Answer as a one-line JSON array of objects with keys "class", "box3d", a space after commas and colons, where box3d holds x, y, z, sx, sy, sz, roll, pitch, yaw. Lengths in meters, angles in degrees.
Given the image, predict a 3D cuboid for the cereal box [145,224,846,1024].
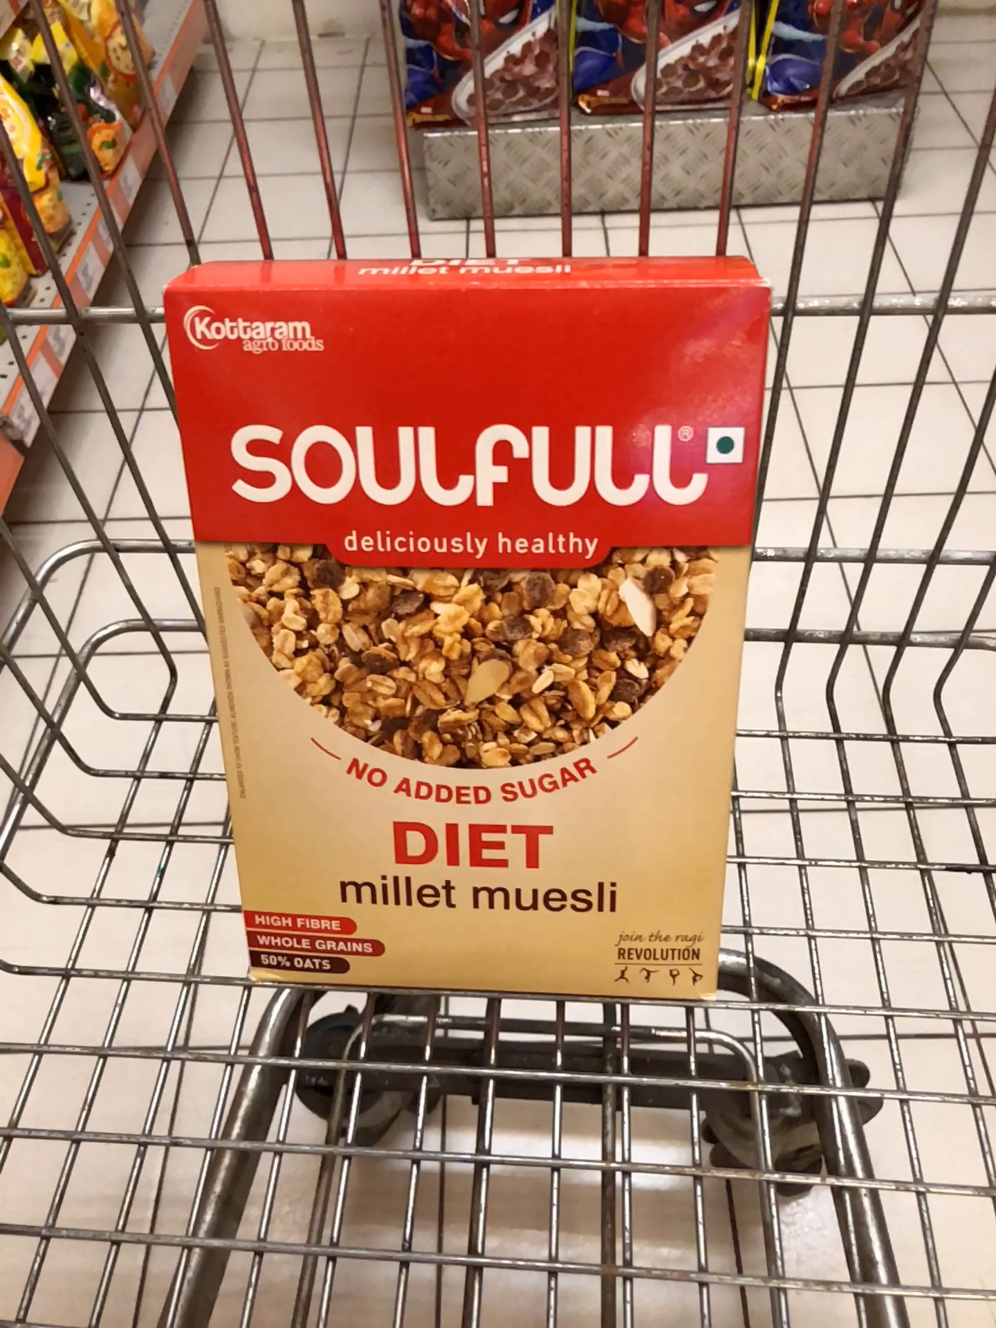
[{"class": "cereal box", "box3d": [0.000, -0.002, 0.346, 0.170, 0.249, 0.050, 2, 28, 4]}]
